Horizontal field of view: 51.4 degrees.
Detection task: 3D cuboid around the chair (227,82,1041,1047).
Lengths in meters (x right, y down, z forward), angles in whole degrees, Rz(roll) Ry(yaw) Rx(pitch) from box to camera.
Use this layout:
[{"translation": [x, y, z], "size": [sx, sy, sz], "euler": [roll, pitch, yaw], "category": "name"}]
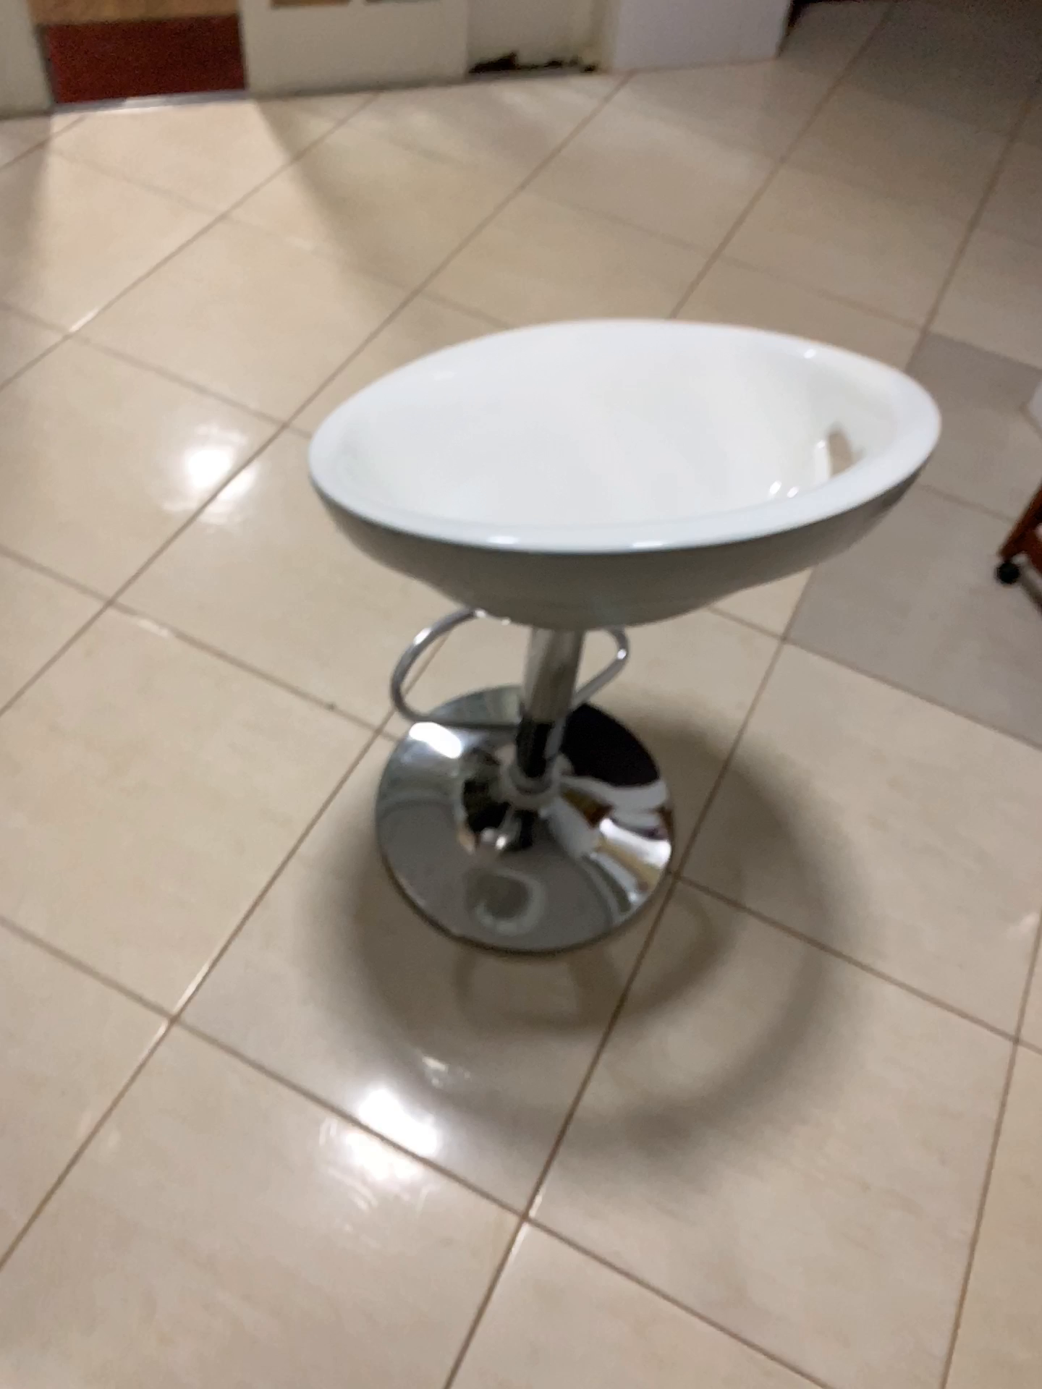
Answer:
[{"translation": [0.046, -0.071, 1.015], "size": [0.471, 0.734, 0.453], "euler": [-12, 56, -15], "category": "chair"}]
